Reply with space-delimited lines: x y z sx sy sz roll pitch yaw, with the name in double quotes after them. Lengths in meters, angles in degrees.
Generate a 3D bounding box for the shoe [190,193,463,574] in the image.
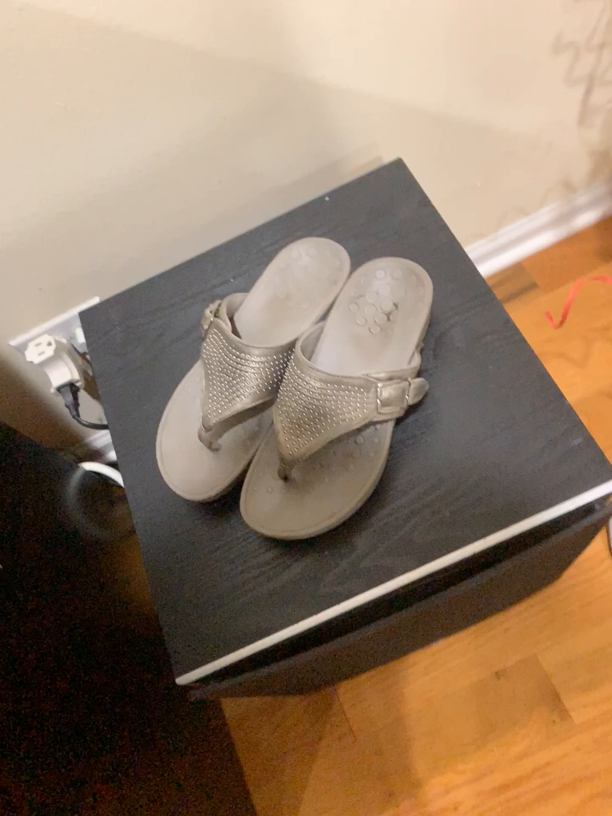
0.027 -0.024 0.454 0.108 0.080 0.248 15 71 19 "shoe"

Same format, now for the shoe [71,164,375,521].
-0.052 -0.055 0.486 0.108 0.080 0.248 22 73 21 "shoe"
